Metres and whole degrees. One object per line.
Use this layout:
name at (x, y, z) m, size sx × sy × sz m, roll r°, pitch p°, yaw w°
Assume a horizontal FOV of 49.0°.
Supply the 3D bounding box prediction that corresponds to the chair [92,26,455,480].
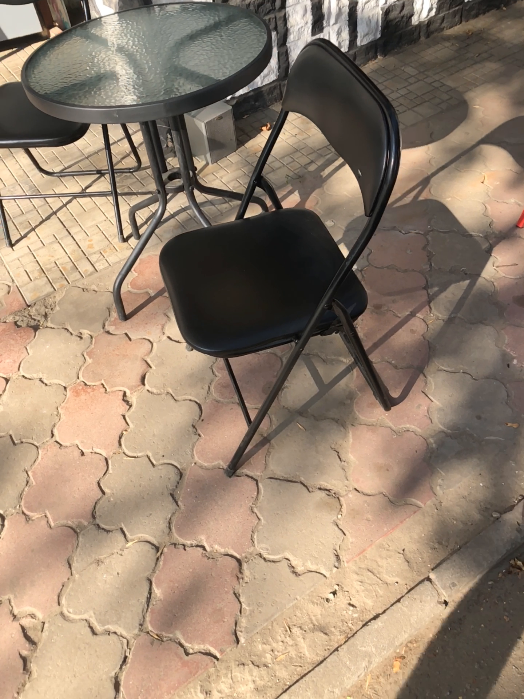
chair at (0.013, -0.183, 1.229) m, size 0.470 × 0.697 × 0.502 m, roll -18°, pitch 49°, yaw -9°
